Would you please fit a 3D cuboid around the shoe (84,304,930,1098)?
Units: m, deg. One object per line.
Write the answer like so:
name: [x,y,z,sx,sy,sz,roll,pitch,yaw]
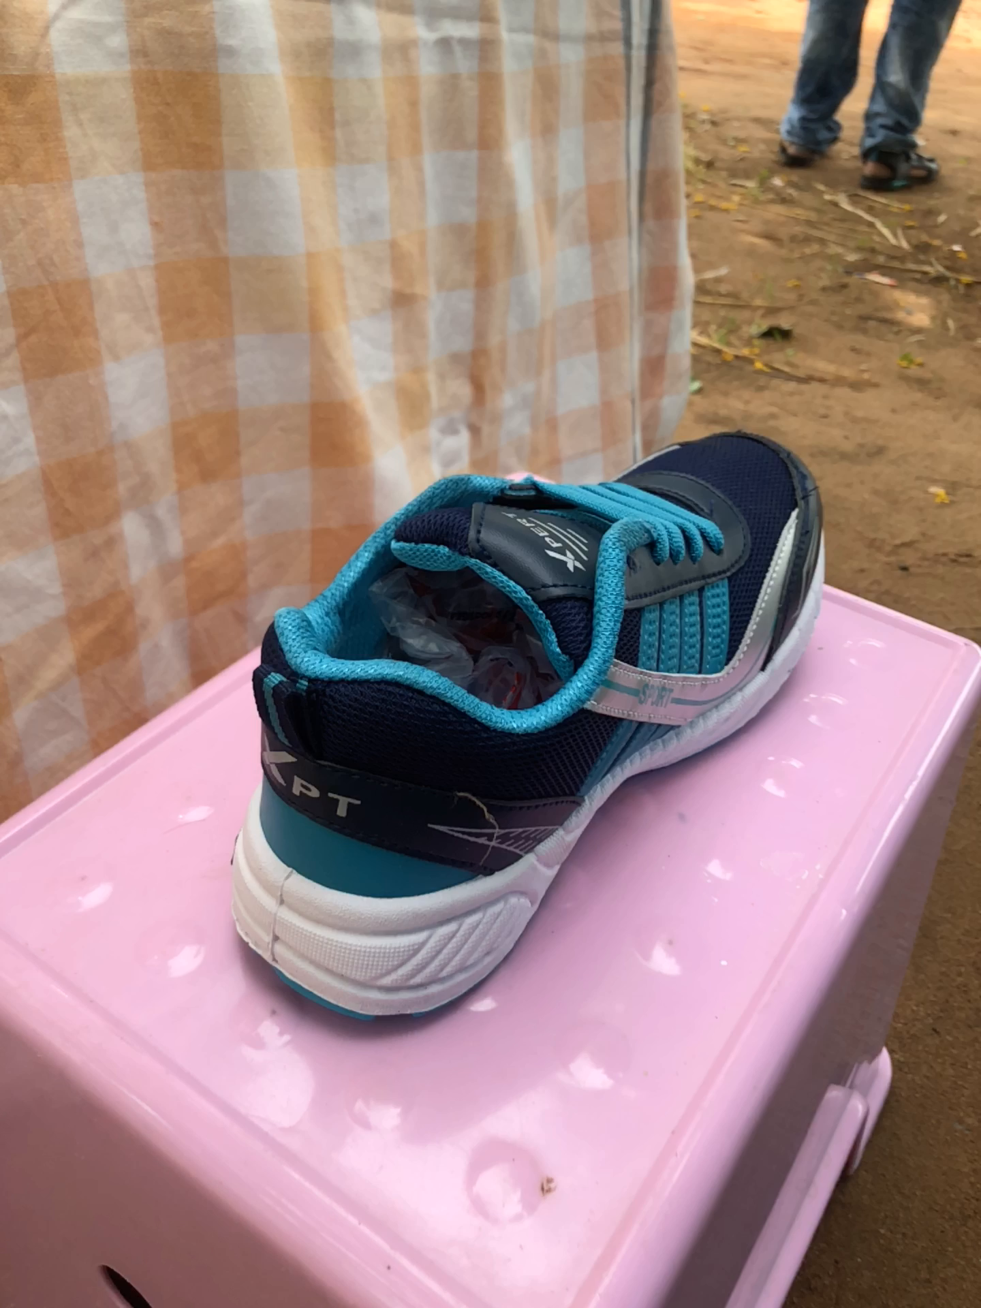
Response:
shoe: [0.026,-0.015,0.353,0.110,0.109,0.271,27,41,27]
